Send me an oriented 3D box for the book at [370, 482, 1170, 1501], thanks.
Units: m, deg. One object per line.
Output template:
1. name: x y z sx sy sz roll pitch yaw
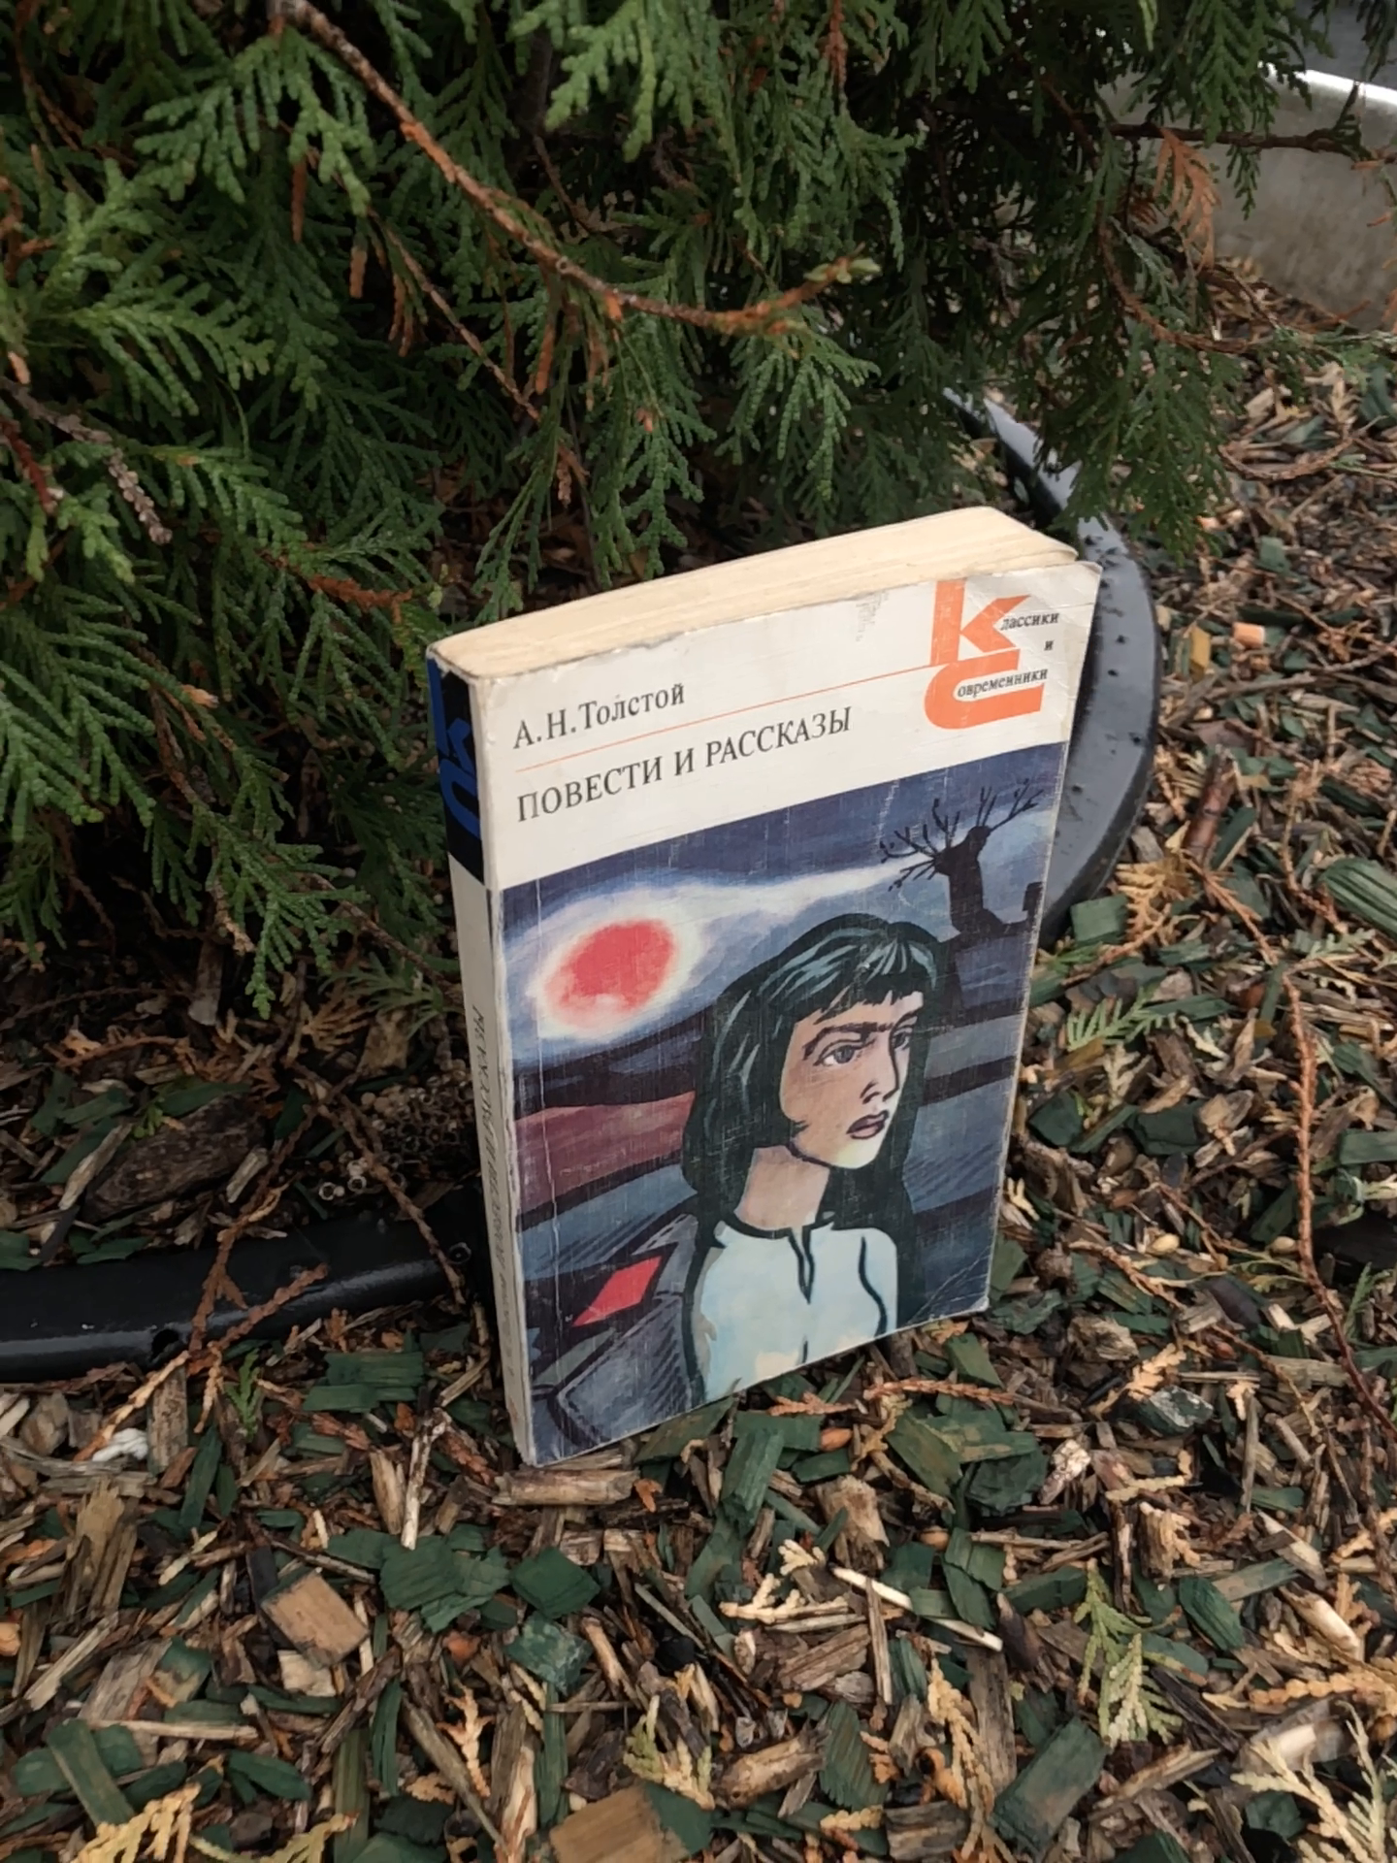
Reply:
1. book: 0.014 0.020 0.319 0.130 0.196 0.041 -15 39 -19
